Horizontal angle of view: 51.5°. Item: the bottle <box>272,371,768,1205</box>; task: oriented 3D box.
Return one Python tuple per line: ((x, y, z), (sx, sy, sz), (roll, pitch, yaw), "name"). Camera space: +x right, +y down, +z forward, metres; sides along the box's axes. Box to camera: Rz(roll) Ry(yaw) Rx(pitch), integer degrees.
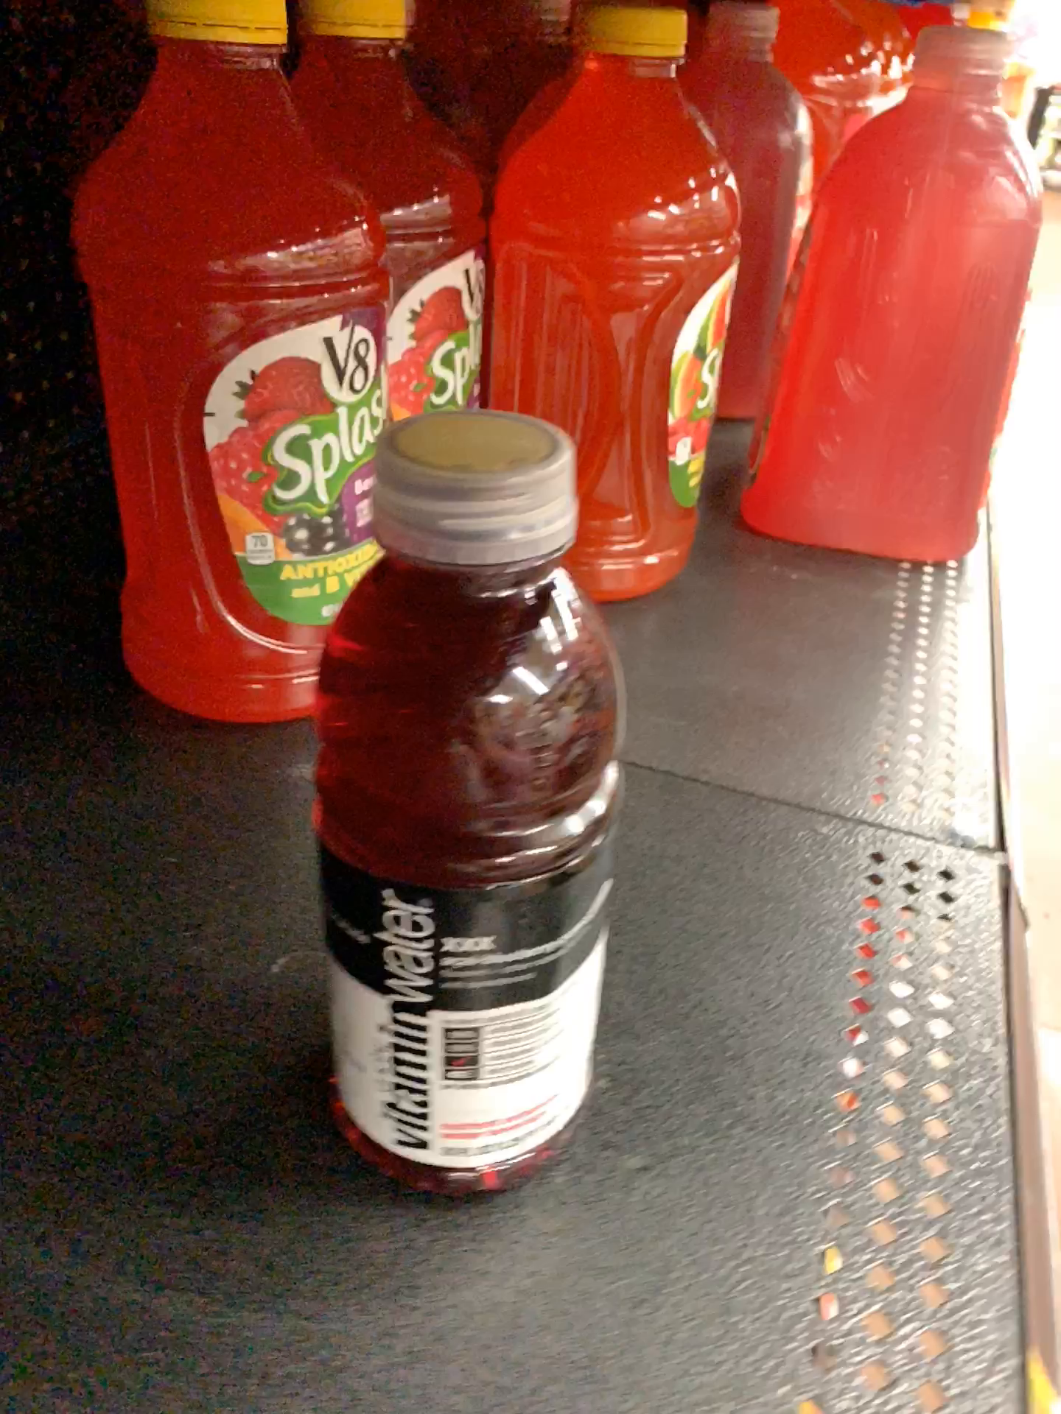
((-0.013, 0.025, 0.258), (0.080, 0.179, 0.080), (4, 34, -2), "bottle")
